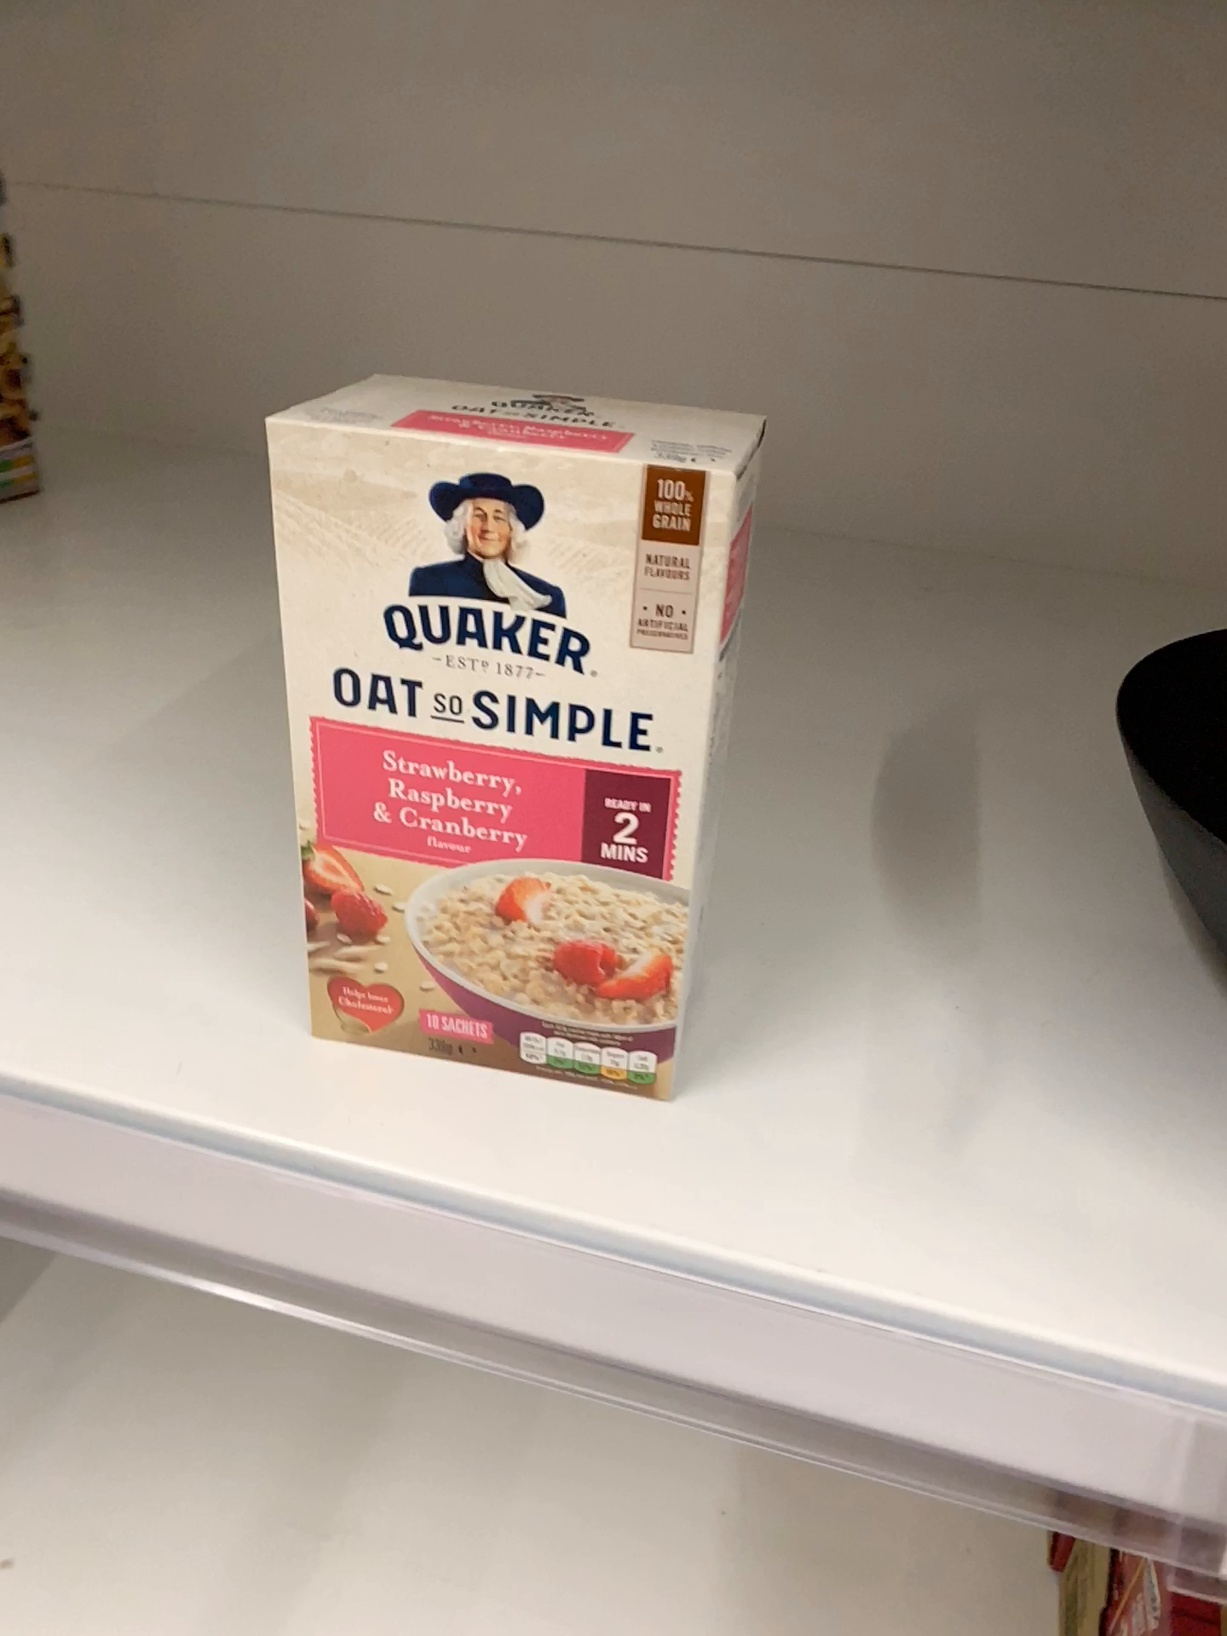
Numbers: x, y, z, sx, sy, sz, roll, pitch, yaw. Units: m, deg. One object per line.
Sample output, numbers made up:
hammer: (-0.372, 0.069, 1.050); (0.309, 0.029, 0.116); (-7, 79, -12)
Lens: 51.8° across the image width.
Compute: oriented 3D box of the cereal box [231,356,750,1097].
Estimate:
cereal box: (-0.036, -0.028, 0.409); (0.130, 0.208, 0.081); (8, 29, 8)
